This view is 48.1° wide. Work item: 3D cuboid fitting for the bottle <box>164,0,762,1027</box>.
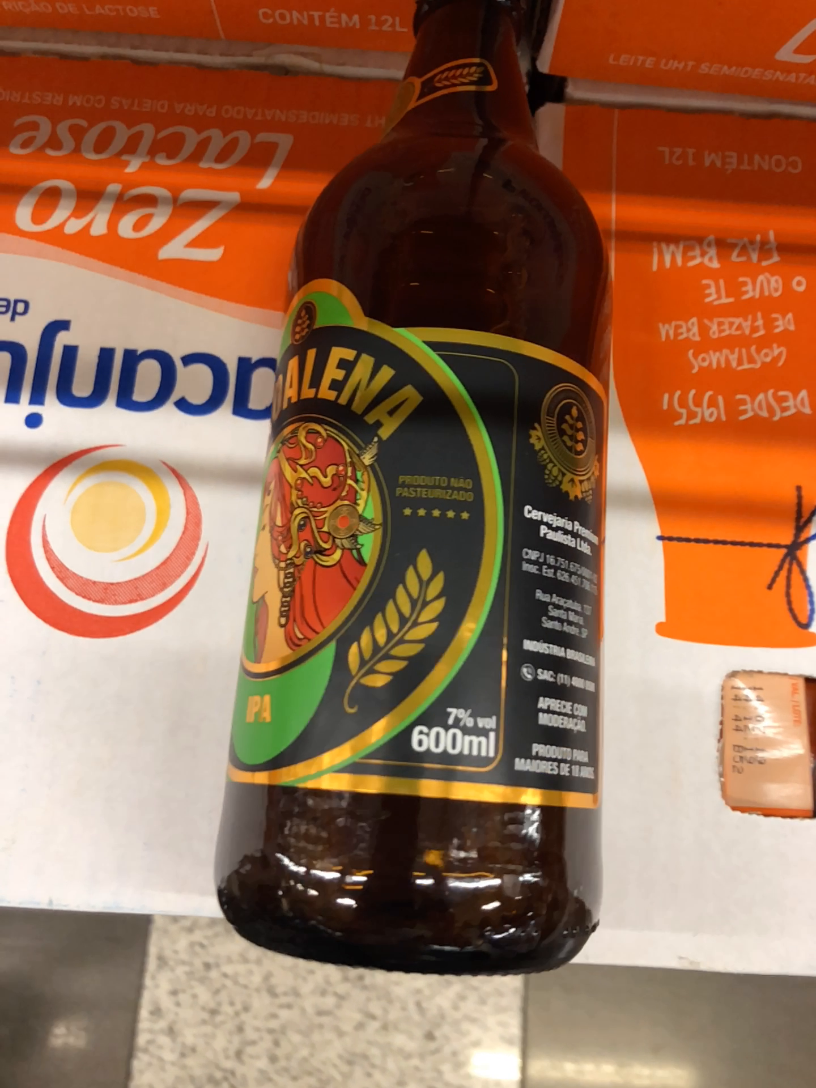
[{"bbox_3d":[0.018,-0.051,0.216,0.100,0.060,0.280,4,76,0],"label":"bottle"}]
